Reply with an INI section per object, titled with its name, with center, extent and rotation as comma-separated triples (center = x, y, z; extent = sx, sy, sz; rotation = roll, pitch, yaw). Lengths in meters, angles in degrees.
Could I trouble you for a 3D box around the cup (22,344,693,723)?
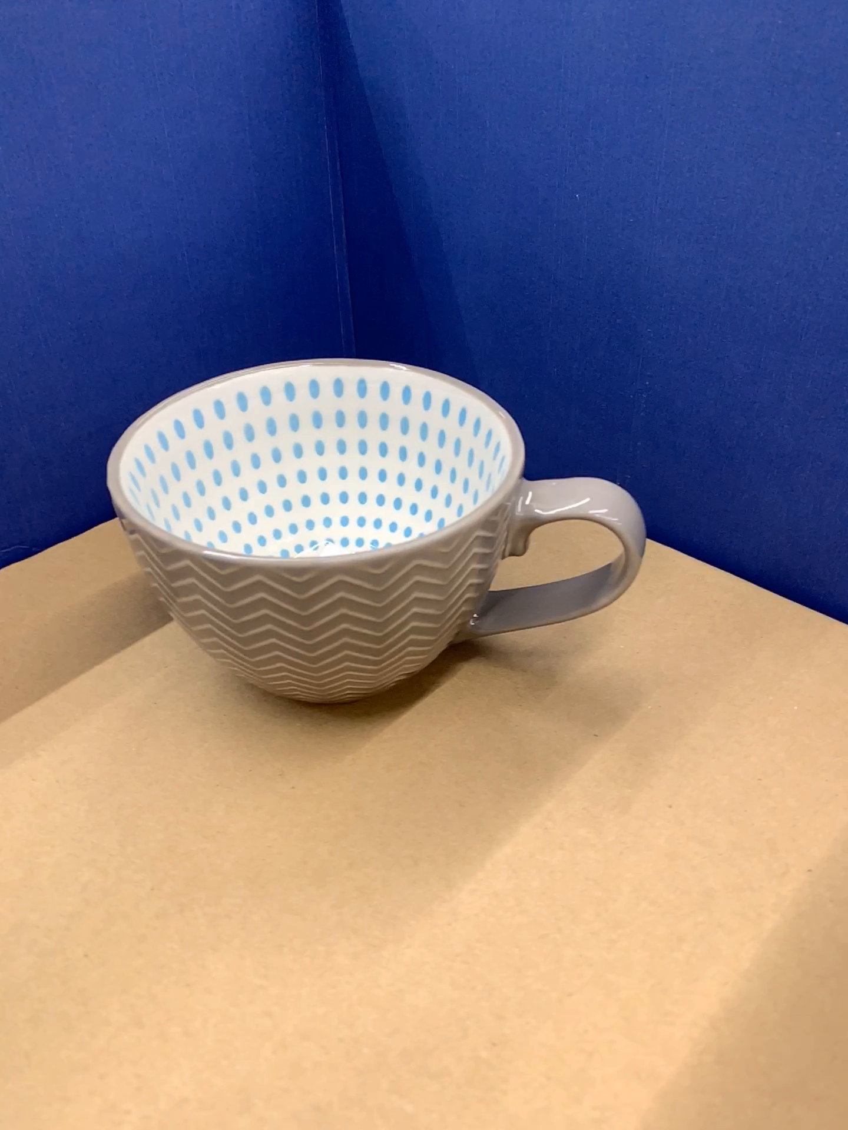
[cup]
center = -0.012, -0.017, 0.255
extent = 0.150, 0.058, 0.109
rotation = 1, 34, 5
